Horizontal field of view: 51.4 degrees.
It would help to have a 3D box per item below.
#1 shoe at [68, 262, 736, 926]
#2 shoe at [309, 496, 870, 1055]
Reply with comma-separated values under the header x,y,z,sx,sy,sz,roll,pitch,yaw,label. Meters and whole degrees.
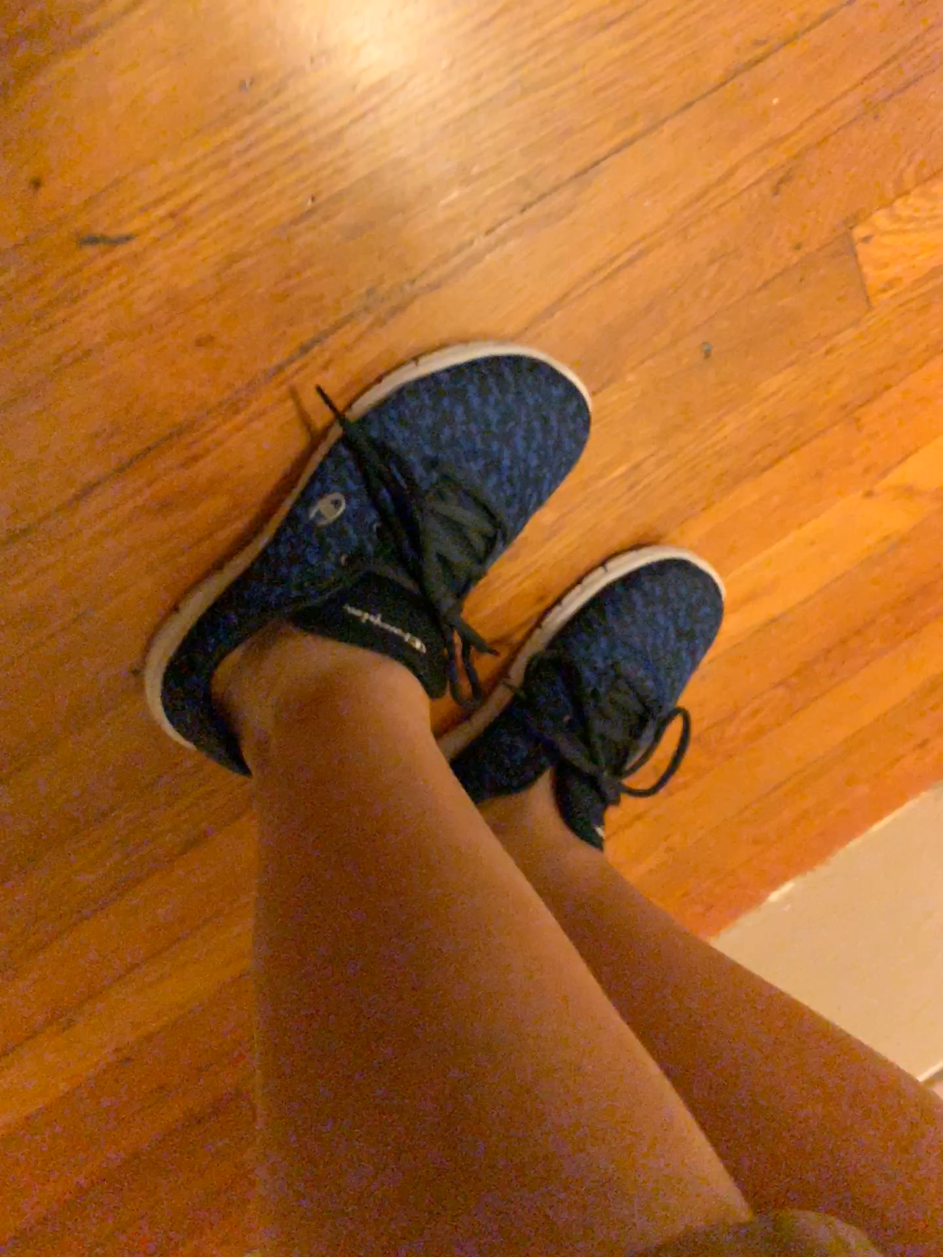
x,y,z,sx,sy,sz,roll,pitch,yaw,label
-0.046,-0.025,0.481,0.290,0.149,0.116,-42,122,3,shoe
0.058,0.081,0.564,0.280,0.129,0.118,-44,122,4,shoe
